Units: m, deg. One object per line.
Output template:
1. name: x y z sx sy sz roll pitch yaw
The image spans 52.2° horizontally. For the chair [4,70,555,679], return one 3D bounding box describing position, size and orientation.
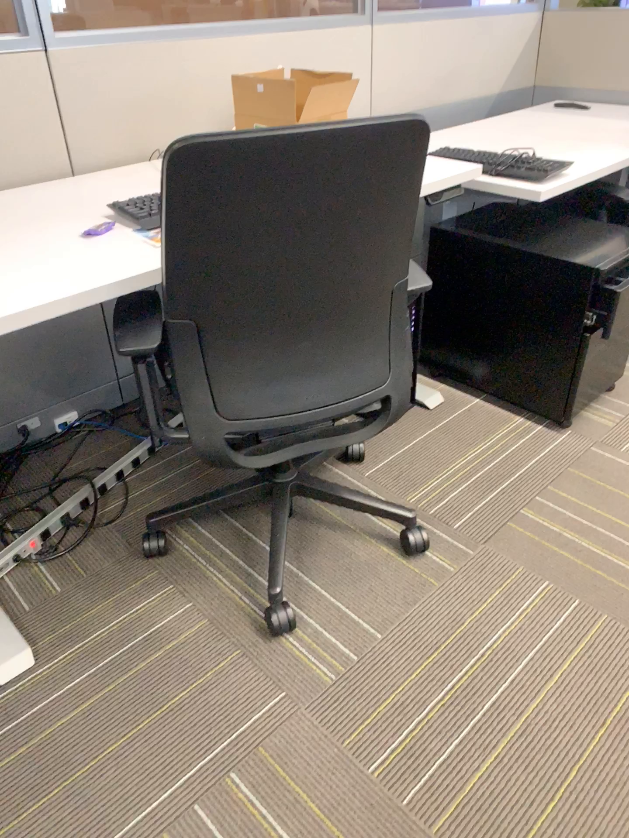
1. chair: -0.101 -0.177 1.389 0.700 0.934 0.754 -20 37 -25
